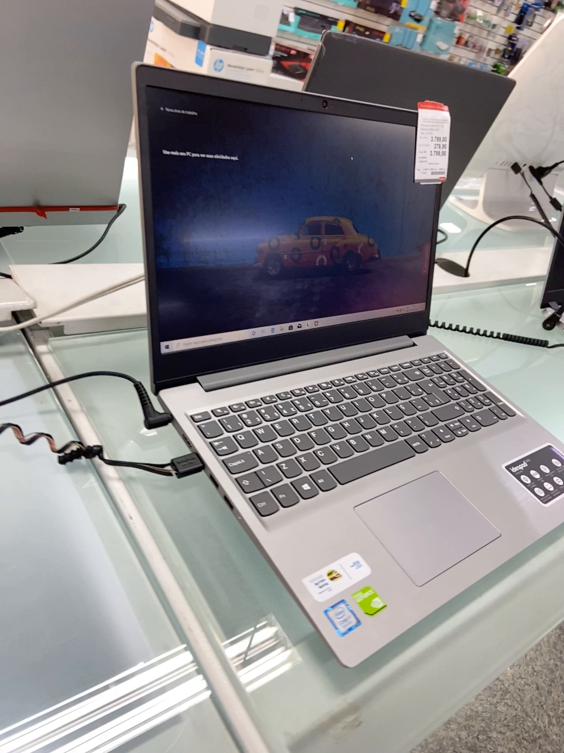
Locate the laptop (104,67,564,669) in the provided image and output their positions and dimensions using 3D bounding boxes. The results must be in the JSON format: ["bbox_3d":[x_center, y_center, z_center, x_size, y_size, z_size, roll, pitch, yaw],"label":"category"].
[{"bbox_3d":[0.109,-0.055,0.483,0.365,0.213,0.360,-12,46,-37],"label":"laptop"}]
